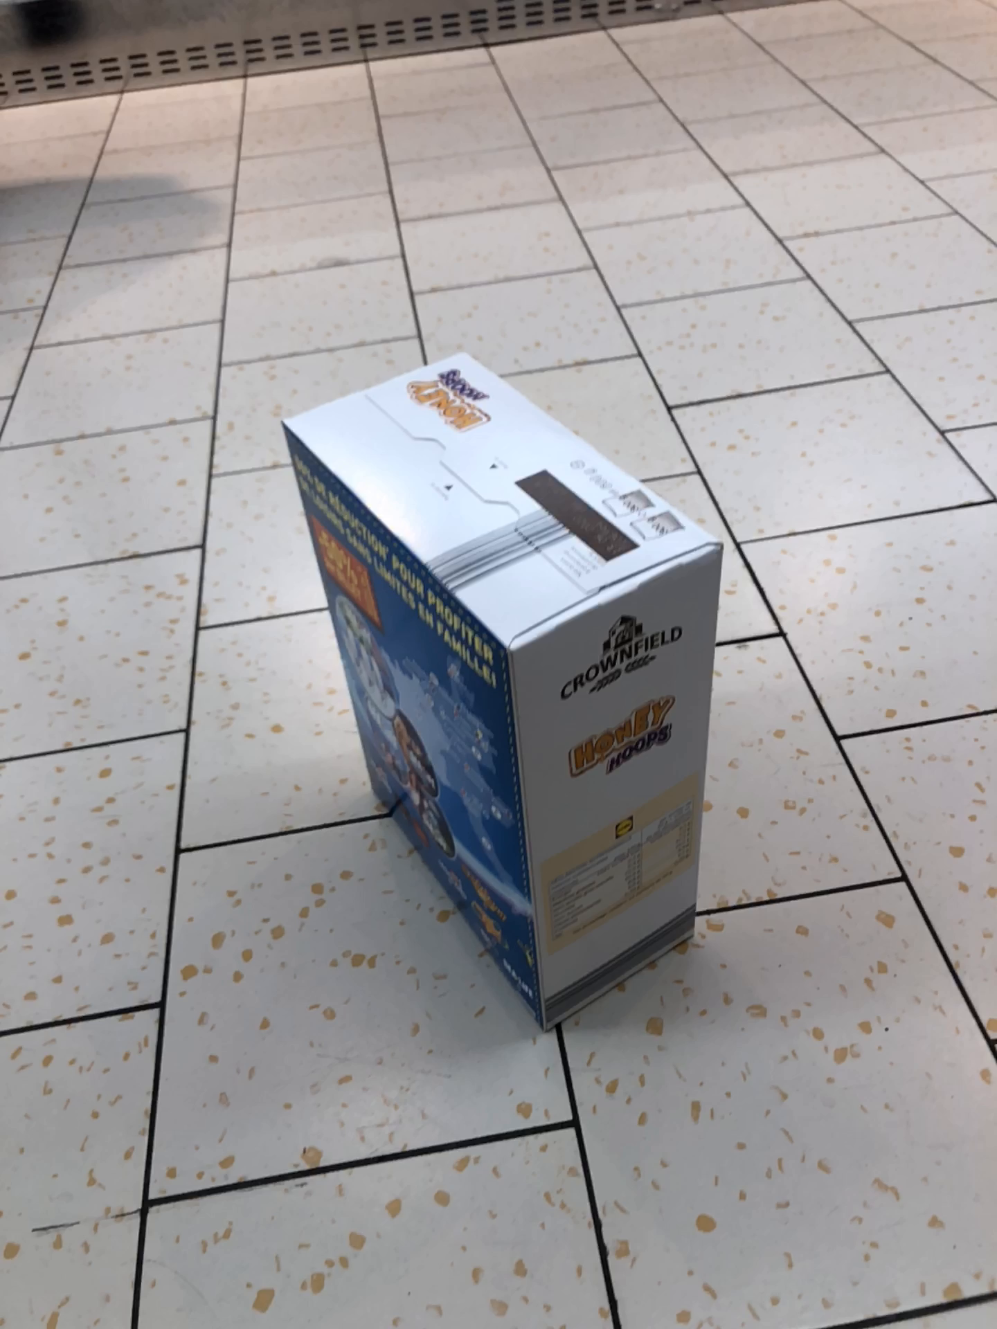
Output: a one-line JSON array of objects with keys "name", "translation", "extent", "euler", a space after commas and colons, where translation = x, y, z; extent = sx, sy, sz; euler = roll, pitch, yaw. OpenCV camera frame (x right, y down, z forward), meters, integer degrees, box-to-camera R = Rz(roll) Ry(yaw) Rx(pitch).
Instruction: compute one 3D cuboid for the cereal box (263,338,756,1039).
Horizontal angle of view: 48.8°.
[{"name": "cereal box", "translation": [0.004, 0.010, 0.538], "extent": [0.110, 0.248, 0.211], "euler": [-26, 46, -19]}]
